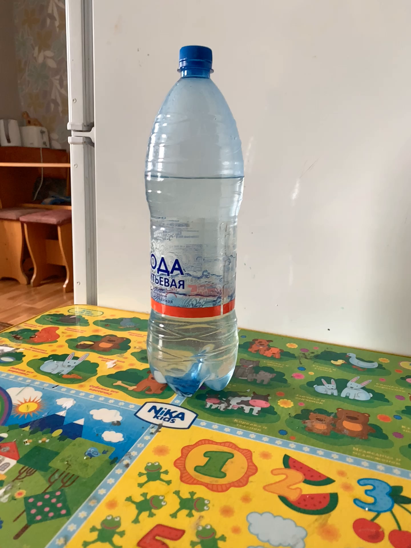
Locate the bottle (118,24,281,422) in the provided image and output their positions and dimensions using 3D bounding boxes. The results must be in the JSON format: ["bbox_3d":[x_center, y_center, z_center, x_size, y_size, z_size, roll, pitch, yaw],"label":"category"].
[{"bbox_3d":[-0.008,-0.041,0.406,0.100,0.318,0.100,1,14,0],"label":"bottle"}]
